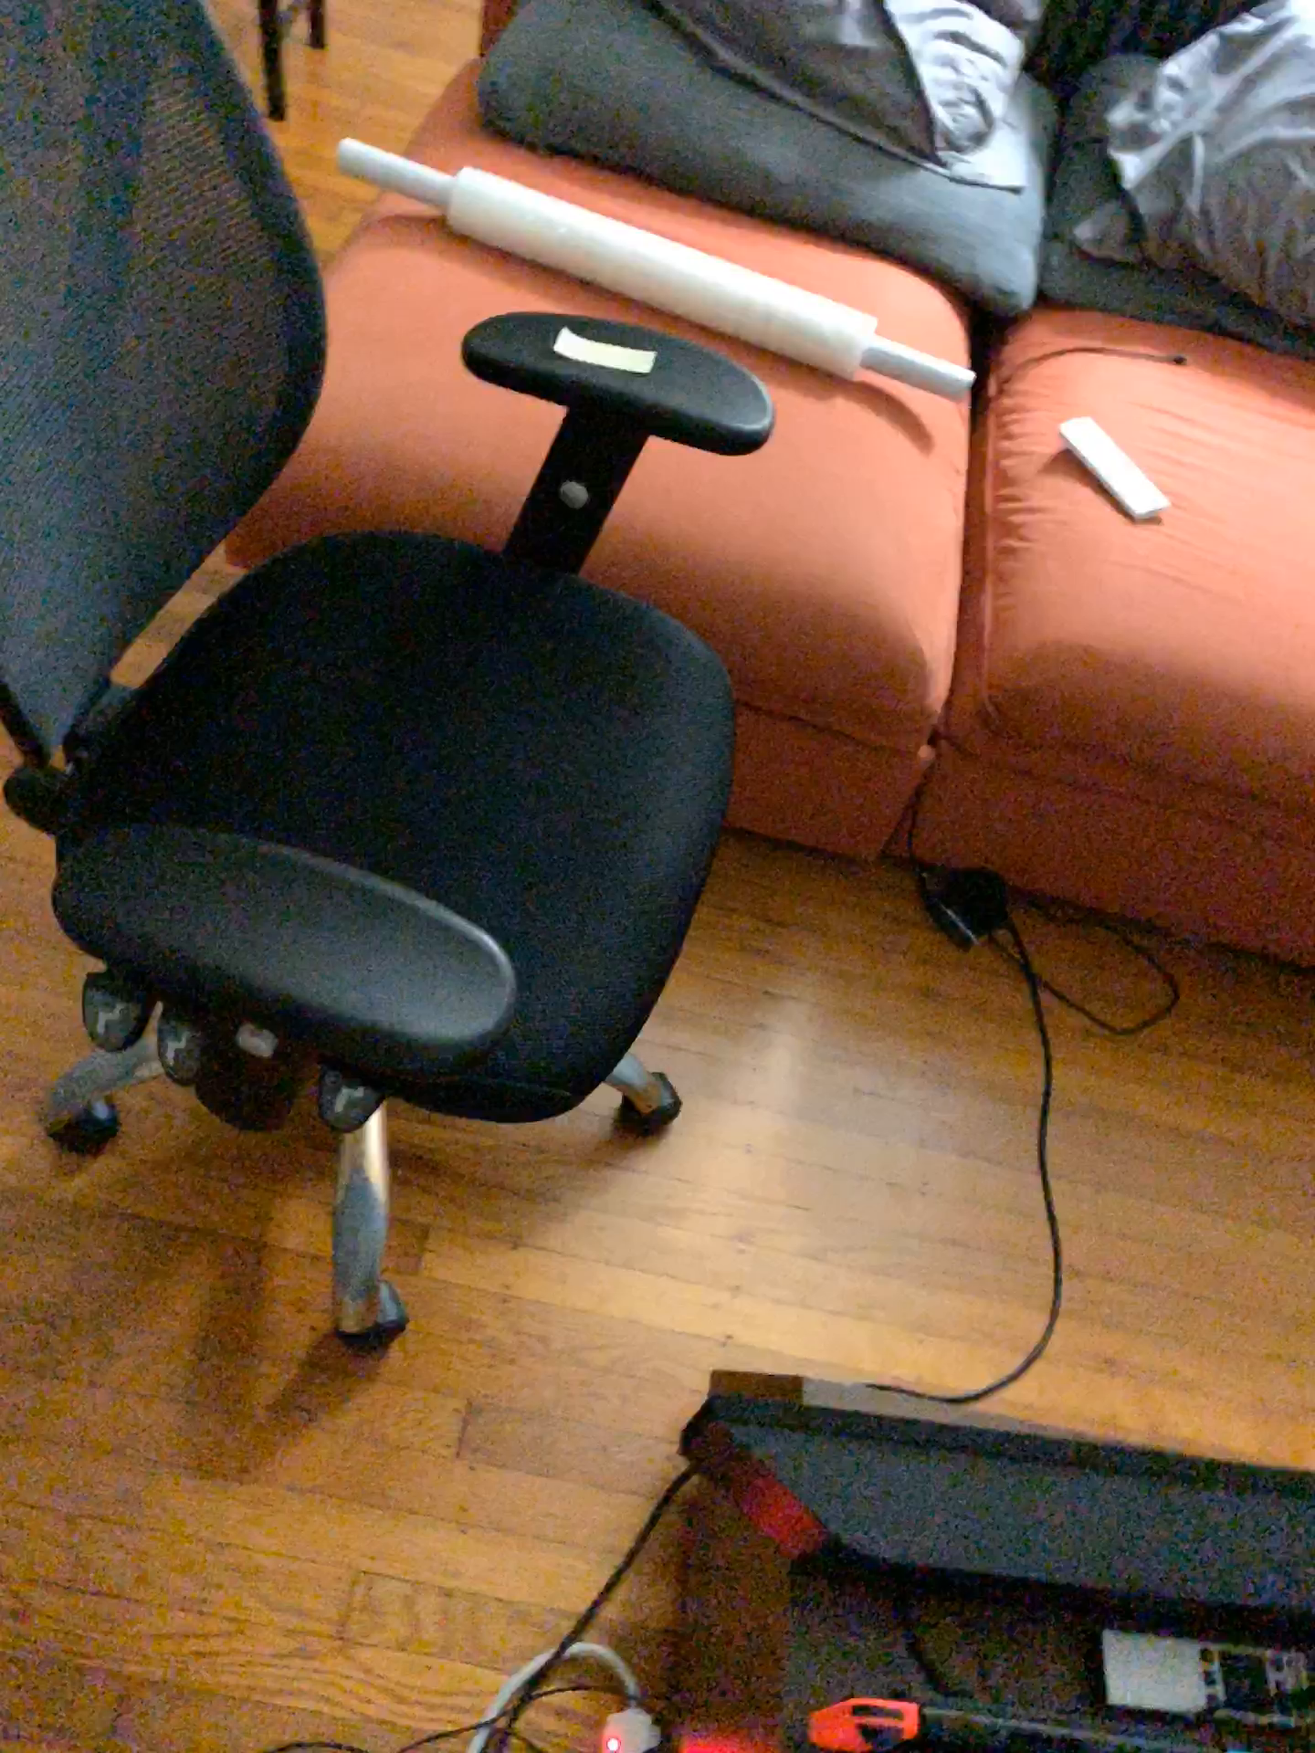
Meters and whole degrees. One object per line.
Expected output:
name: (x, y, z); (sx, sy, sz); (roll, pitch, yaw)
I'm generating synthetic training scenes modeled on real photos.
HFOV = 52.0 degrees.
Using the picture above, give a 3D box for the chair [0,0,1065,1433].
chair: (-0.224, -0.153, 1.023); (0.660, 0.976, 0.643); (18, 51, 6)
